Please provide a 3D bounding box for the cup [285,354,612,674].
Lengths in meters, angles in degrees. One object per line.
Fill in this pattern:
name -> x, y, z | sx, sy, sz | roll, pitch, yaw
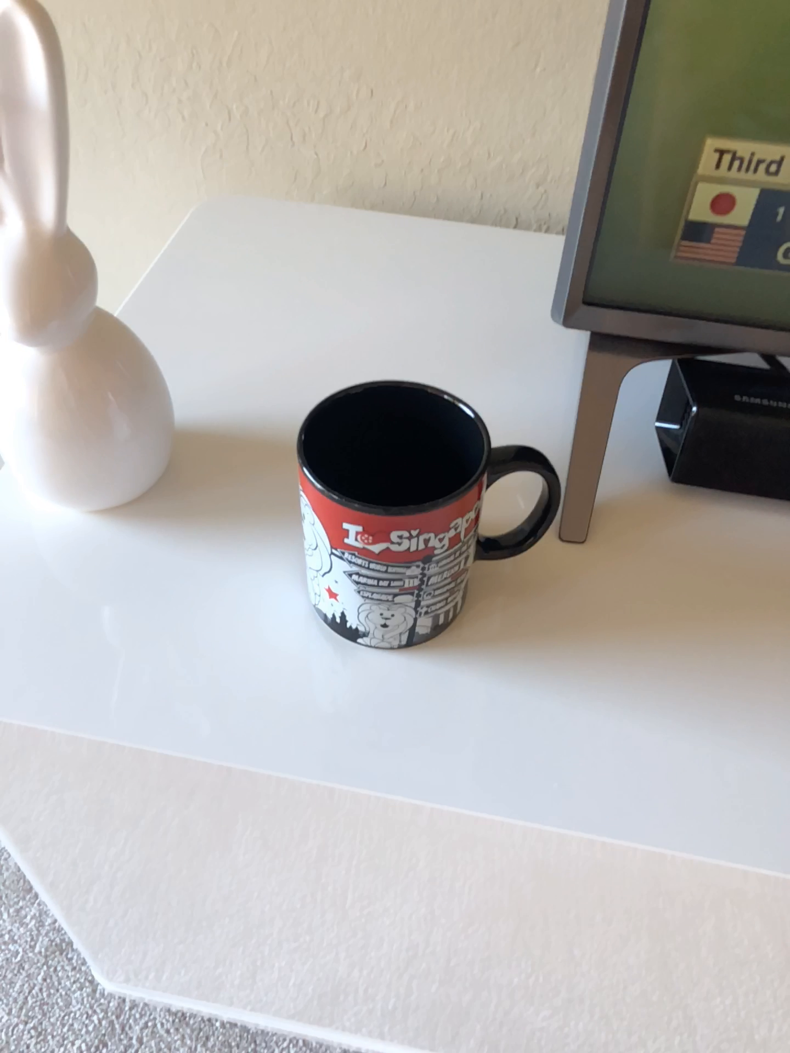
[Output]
cup -> 0.017, -0.005, 0.402 | 0.120, 0.110, 0.080 | -7, 48, -9
